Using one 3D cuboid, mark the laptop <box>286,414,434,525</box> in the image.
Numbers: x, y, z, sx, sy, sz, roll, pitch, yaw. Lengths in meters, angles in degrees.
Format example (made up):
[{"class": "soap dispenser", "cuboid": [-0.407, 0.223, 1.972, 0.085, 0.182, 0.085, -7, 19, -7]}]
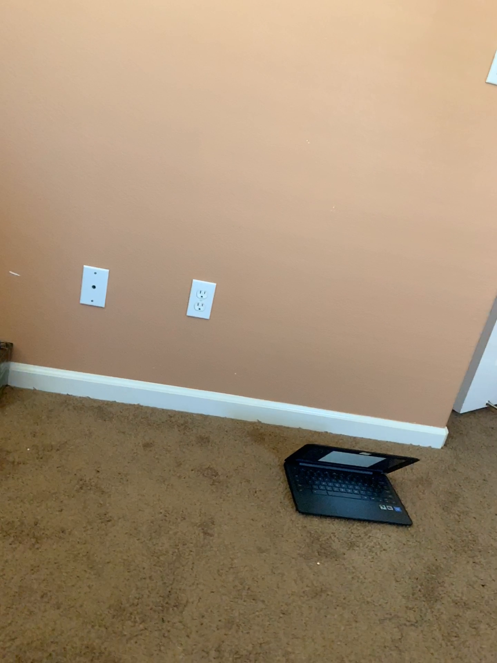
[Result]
[{"class": "laptop", "cuboid": [0.267, 0.341, 1.278, 0.292, 0.140, 0.193, 10, 21, -10]}]
